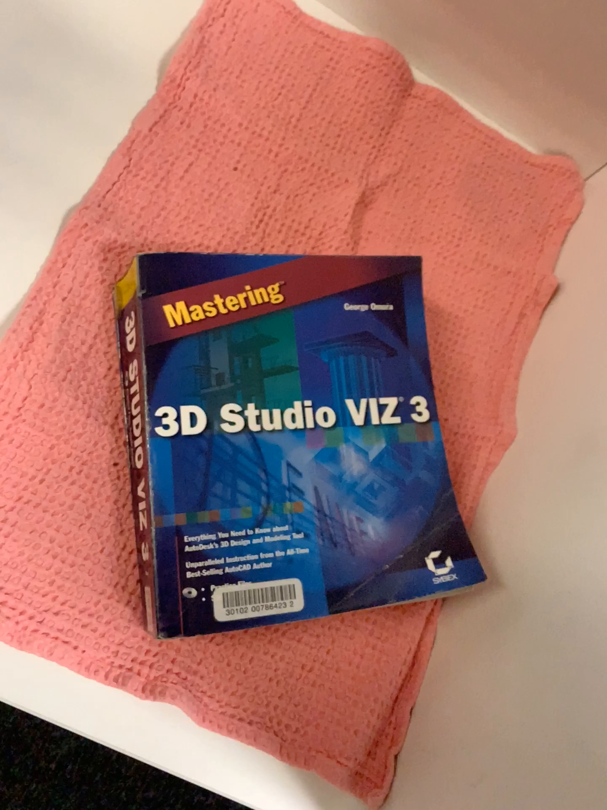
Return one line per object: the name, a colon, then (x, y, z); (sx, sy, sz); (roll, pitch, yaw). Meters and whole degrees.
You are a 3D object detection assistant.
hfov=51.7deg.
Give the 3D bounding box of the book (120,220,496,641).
book: (-0.004, 0.009, 0.408); (0.206, 0.077, 0.232); (-3, 78, -20)
